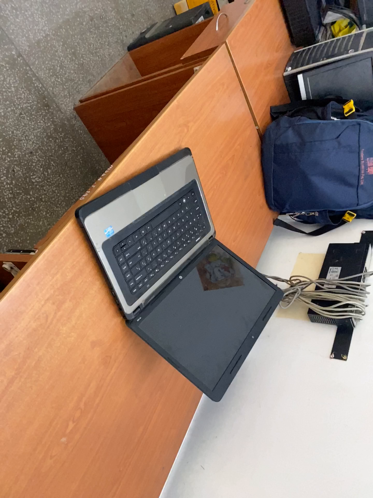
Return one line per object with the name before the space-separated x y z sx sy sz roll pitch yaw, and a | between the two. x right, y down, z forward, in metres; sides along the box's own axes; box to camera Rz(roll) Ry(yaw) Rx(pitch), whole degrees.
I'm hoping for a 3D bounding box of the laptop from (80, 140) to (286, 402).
laptop | 0.039 0.030 0.858 0.384 0.158 0.426 -43 122 -44
